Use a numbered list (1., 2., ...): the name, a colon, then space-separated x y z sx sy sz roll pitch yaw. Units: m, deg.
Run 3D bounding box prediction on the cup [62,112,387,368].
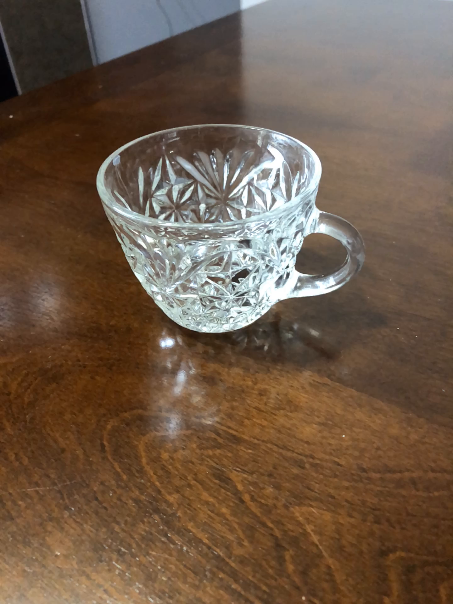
1. cup: 0.004 -0.030 0.204 0.100 0.060 0.070 11 42 17
